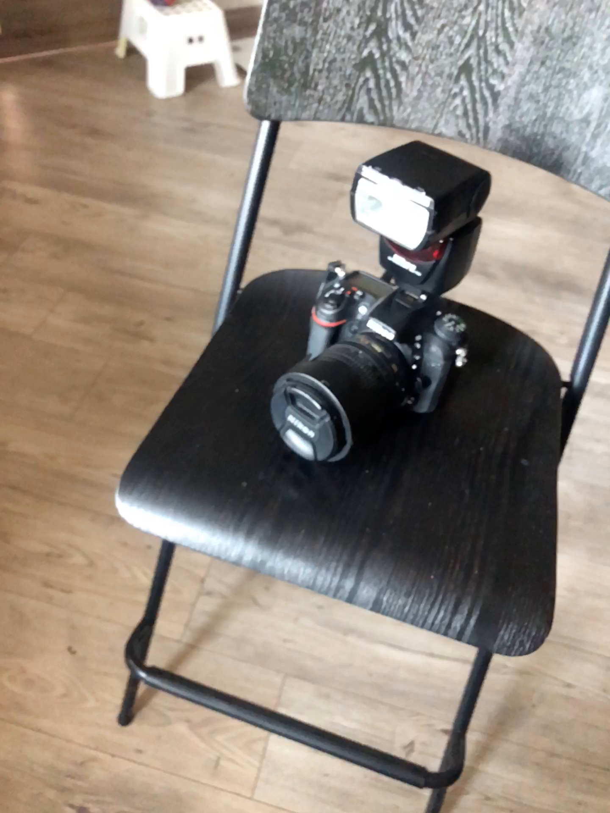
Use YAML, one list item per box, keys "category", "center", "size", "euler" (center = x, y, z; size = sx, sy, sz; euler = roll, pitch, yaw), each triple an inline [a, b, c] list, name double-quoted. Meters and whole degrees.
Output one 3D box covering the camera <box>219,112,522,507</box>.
- category: "camera"
  center: [0.043, -0.072, 0.521]
  size: [0.125, 0.217, 0.168]
  euler: [31, 53, 24]
